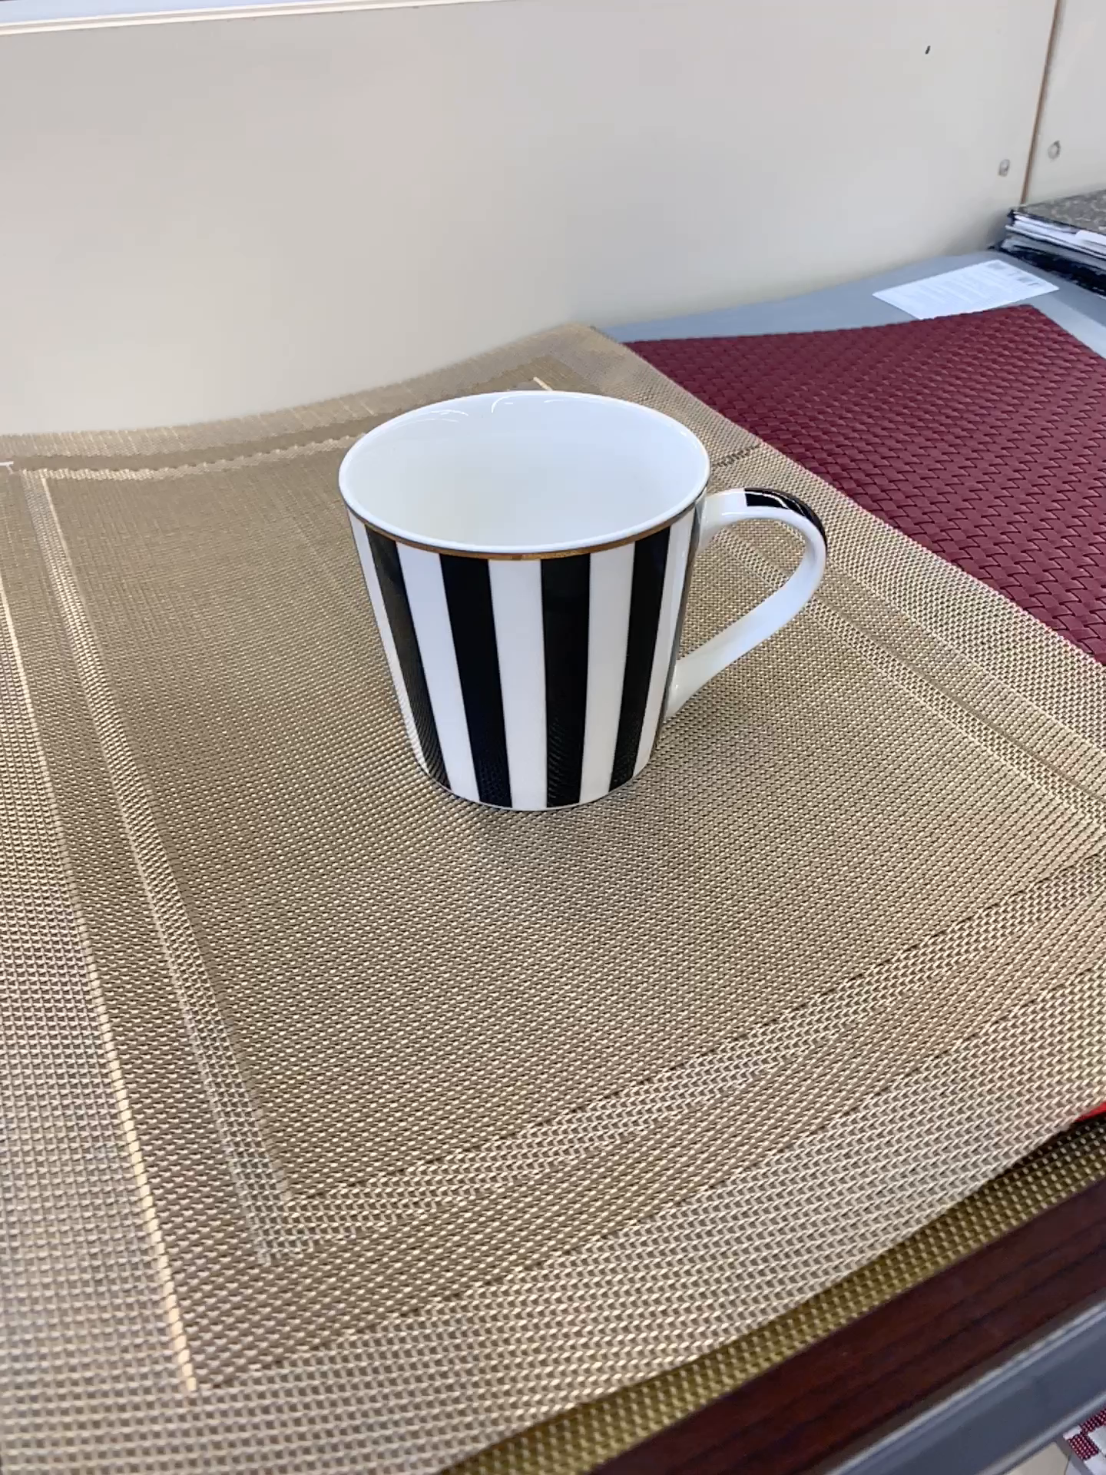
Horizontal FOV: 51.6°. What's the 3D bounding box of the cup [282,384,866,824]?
[{"bbox_3d":[0.007,-0.040,0.318,0.130,0.080,0.100,-2,34,2],"label":"cup"}]
